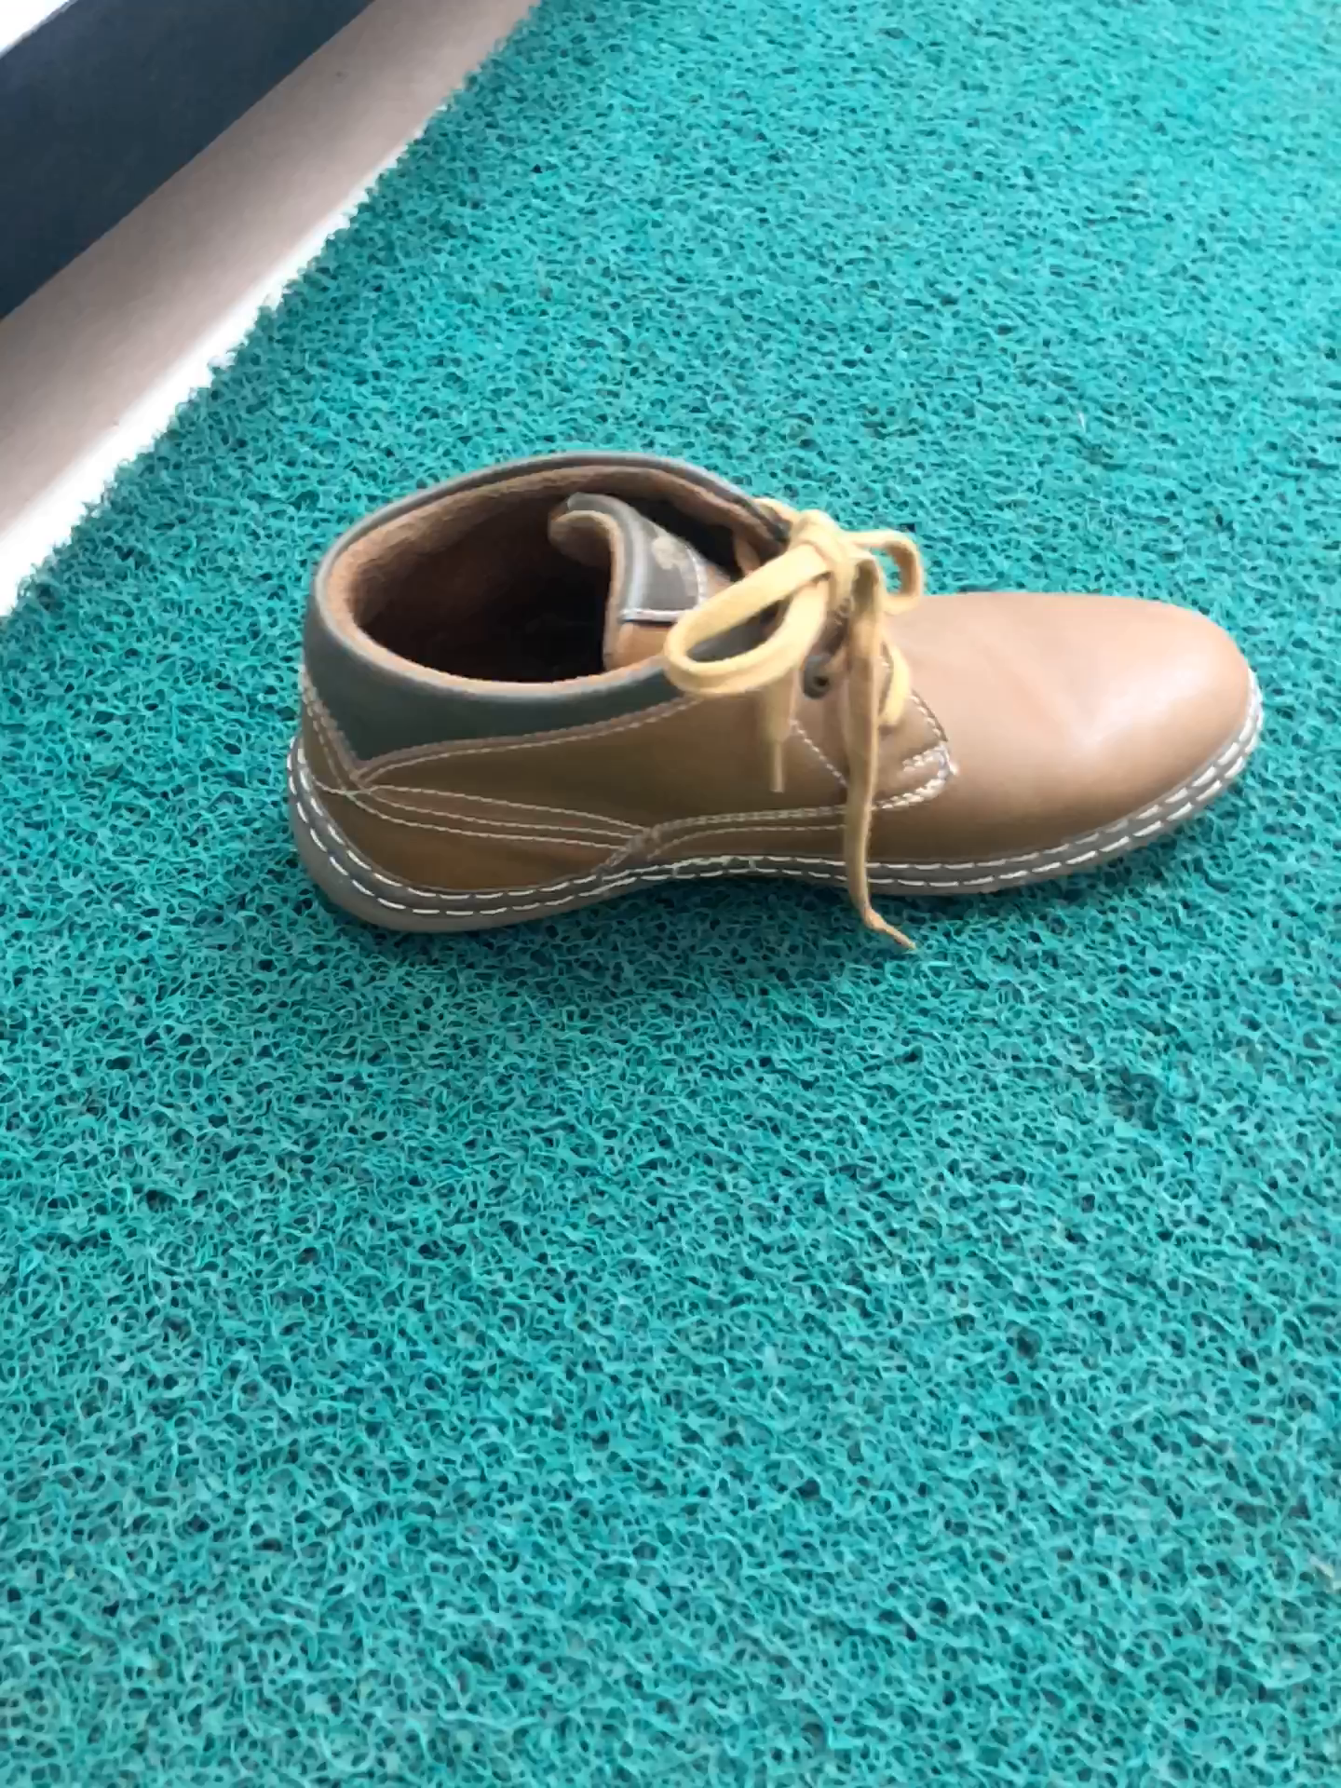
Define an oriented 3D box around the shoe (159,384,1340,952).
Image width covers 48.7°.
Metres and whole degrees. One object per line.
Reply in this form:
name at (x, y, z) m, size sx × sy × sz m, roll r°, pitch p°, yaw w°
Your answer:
shoe at (0.030, -0.058, 0.370) m, size 0.280 × 0.080 × 0.100 m, roll -3°, pitch 58°, yaw -6°
